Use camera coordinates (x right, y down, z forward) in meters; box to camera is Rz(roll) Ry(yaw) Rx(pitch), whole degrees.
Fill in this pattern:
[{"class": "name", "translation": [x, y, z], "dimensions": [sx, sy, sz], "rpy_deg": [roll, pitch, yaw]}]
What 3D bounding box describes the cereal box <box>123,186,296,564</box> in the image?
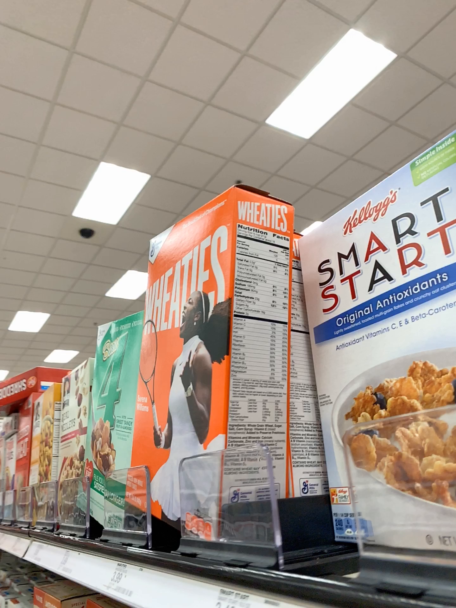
[{"class": "cereal box", "translation": [-0.025, 0.062, 0.466], "dimensions": [0.070, 0.291, 0.200], "rpy_deg": [9, -13, -30]}]
